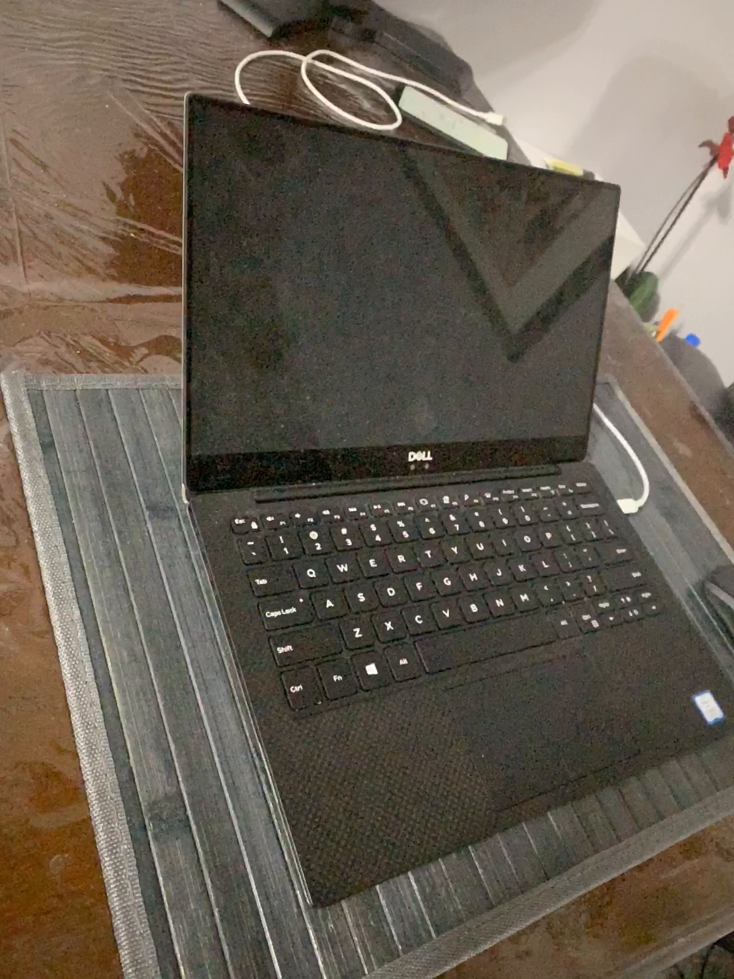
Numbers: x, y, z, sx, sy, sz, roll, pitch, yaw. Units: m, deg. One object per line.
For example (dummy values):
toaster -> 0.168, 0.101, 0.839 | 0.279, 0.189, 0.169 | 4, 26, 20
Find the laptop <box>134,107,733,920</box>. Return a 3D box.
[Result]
laptop -> 0.073, -0.015, 0.371 | 0.282, 0.129, 0.298 | -5, 57, -33
